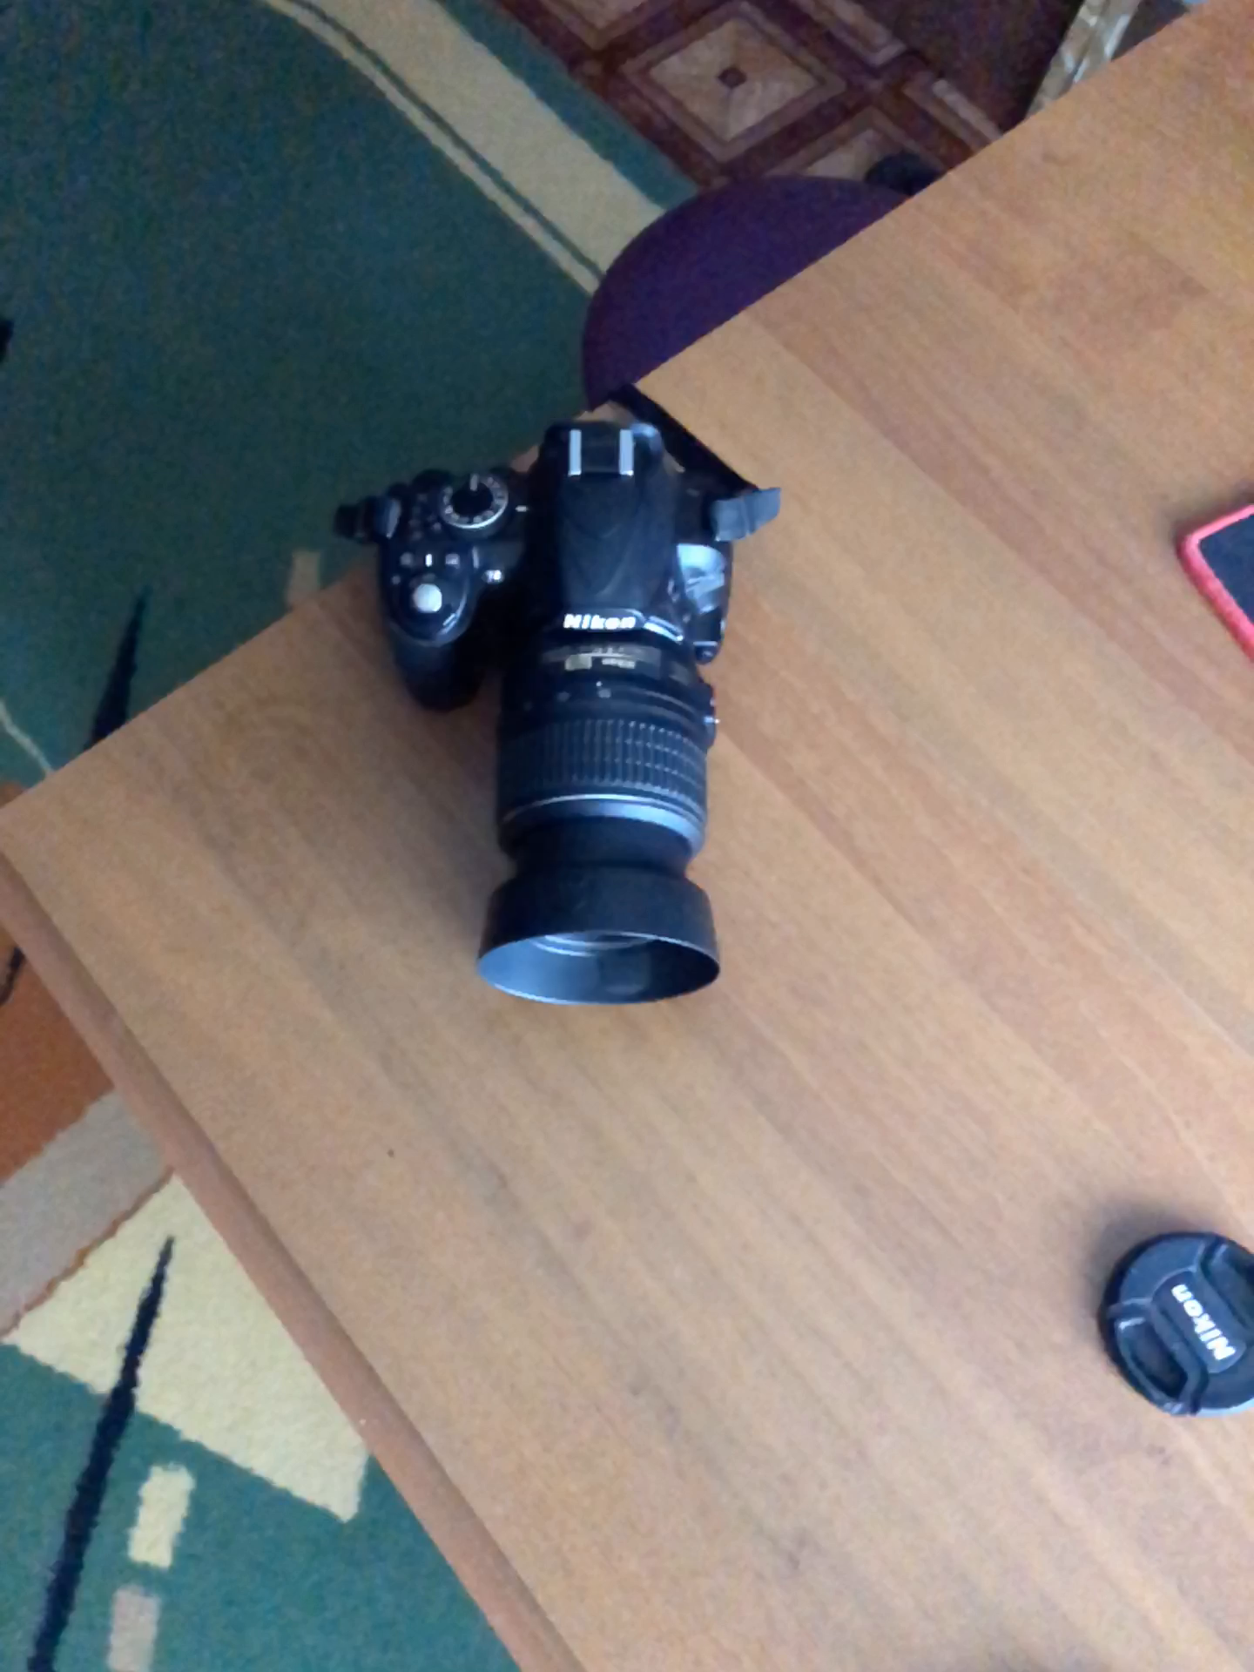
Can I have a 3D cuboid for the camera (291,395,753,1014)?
[{"bbox_3d":[-0.027,-0.043,0.475,0.129,0.092,0.183,3,68,2],"label":"camera"}]
